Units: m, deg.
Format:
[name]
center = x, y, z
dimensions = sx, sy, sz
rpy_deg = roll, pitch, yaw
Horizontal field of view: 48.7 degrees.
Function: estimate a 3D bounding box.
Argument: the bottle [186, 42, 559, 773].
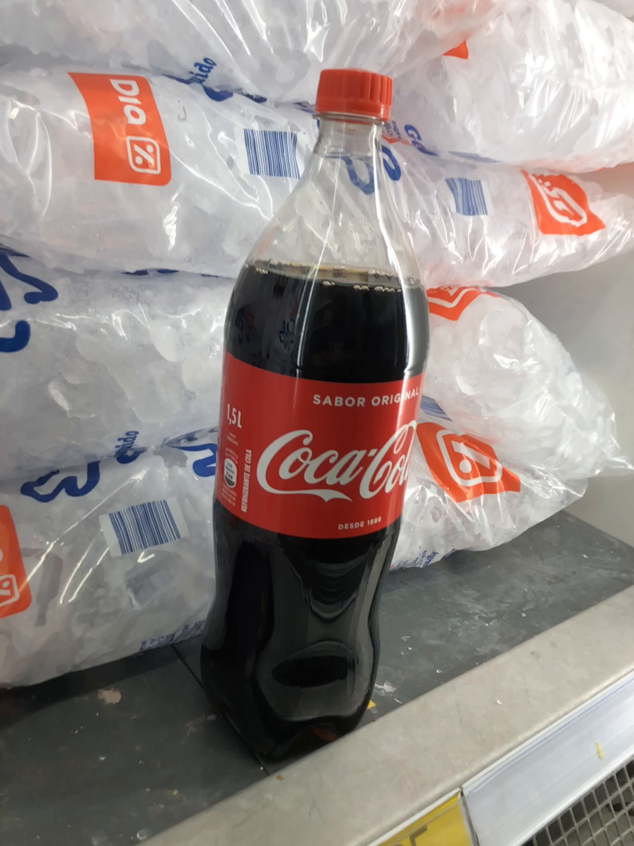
[bottle]
center = 0.010, 0.001, 0.317
dimensions = 0.100, 0.288, 0.080
rpy_deg = -4, 23, -29
